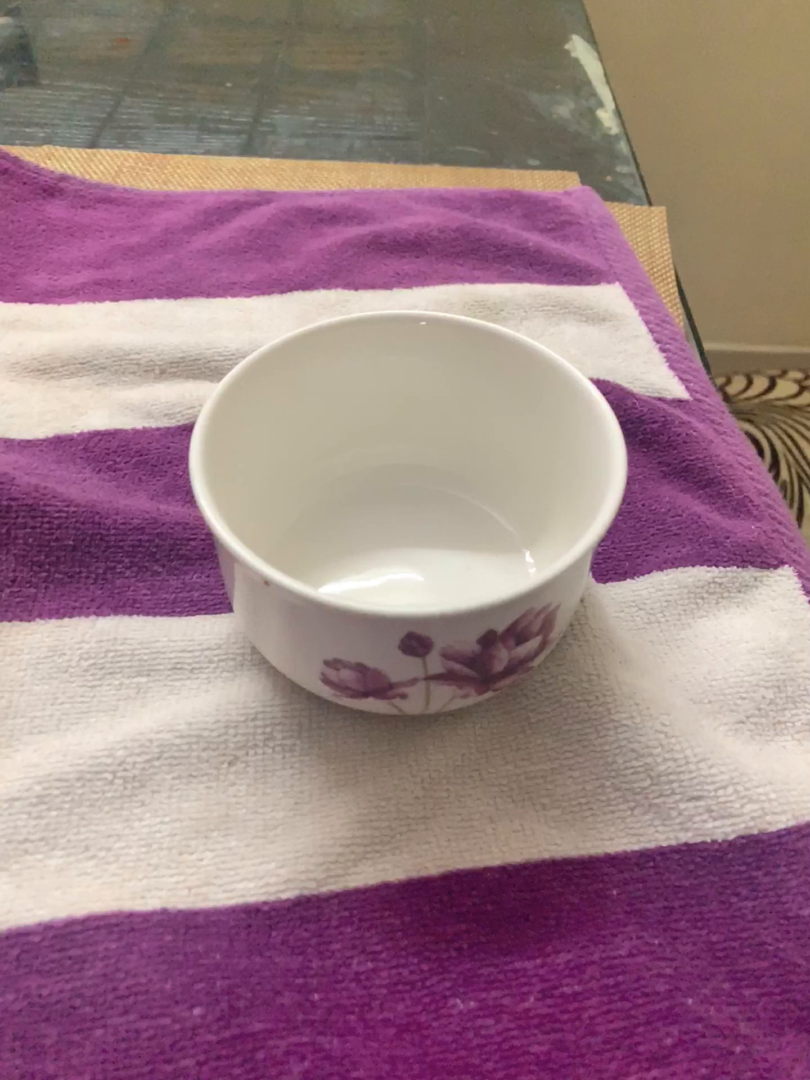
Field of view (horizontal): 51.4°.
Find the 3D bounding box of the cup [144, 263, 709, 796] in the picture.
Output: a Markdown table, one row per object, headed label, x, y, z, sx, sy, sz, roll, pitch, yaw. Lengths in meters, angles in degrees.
| label | x | y | z | sx | sy | sz | roll | pitch | yaw |
| --- | --- | --- | --- | --- | --- | --- | --- | --- | --- |
| cup | -0.005 | -0.010 | 0.199 | 0.100 | 0.050 | 0.111 | -7 | 50 | -9 |
